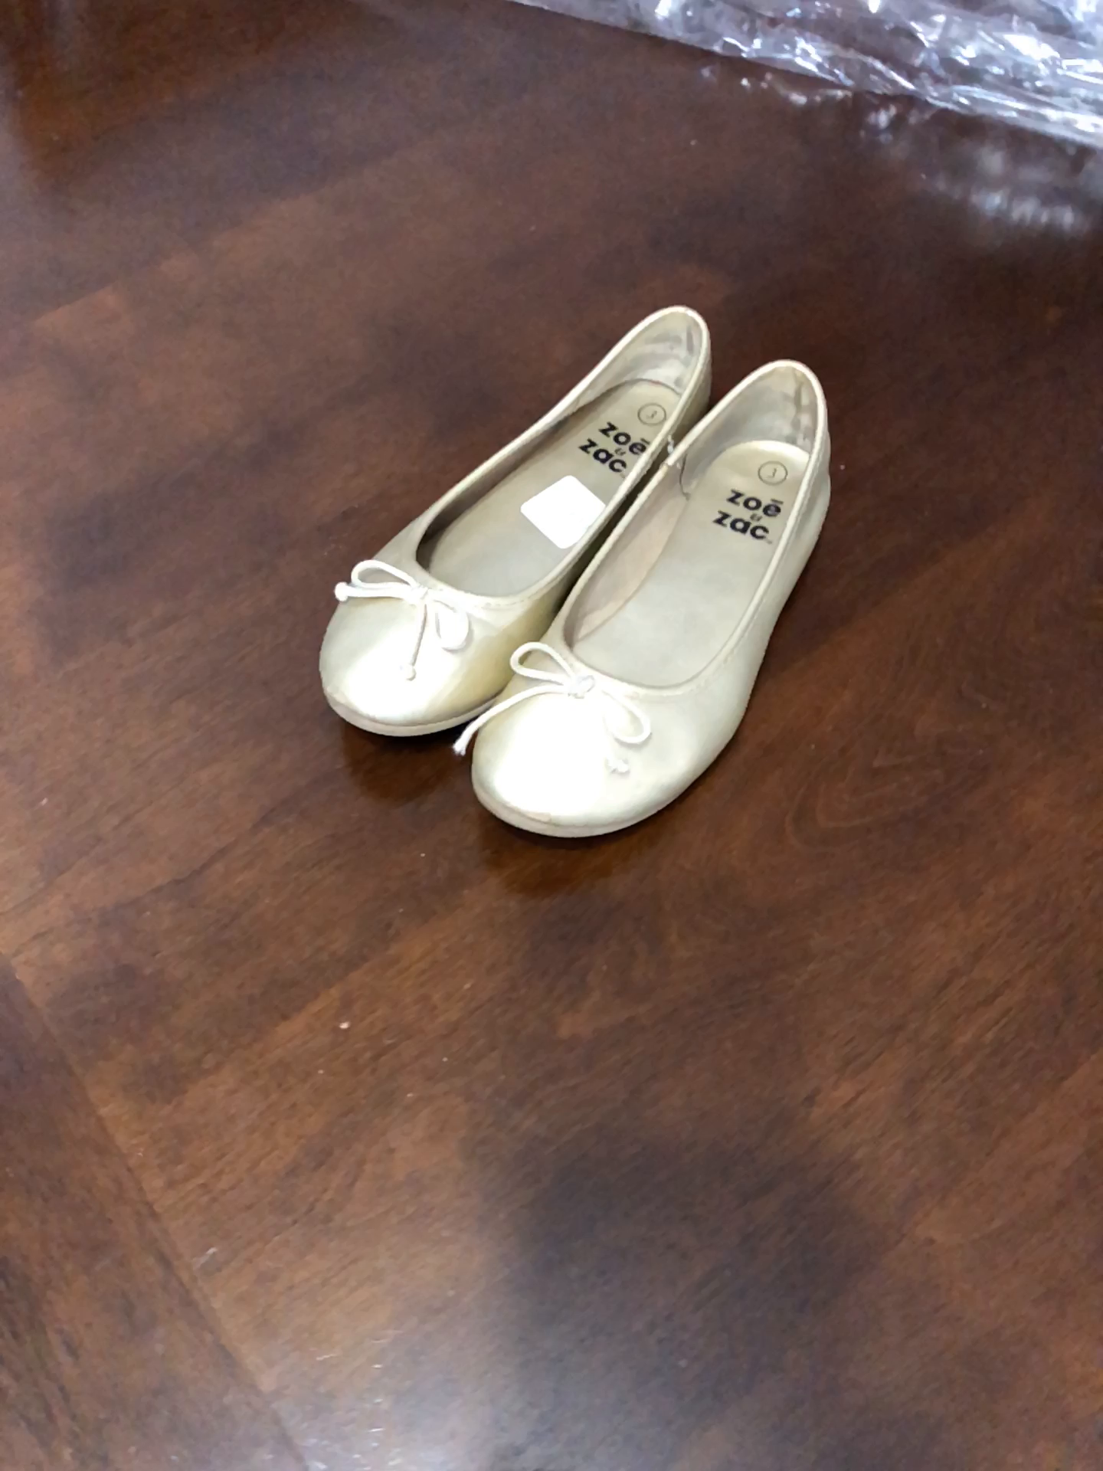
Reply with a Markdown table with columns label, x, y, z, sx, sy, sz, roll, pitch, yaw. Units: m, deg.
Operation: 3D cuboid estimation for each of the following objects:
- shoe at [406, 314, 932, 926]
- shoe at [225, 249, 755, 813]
| label | x | y | z | sx | sy | sz | roll | pitch | yaw |
| --- | --- | --- | --- | --- | --- | --- | --- | --- | --- |
| shoe | 0.051 | -0.053 | 0.473 | 0.090 | 0.070 | 0.230 | 28 | 62 | 17 |
| shoe | -0.015 | -0.090 | 0.490 | 0.080 | 0.070 | 0.230 | 30 | 63 | 18 |
